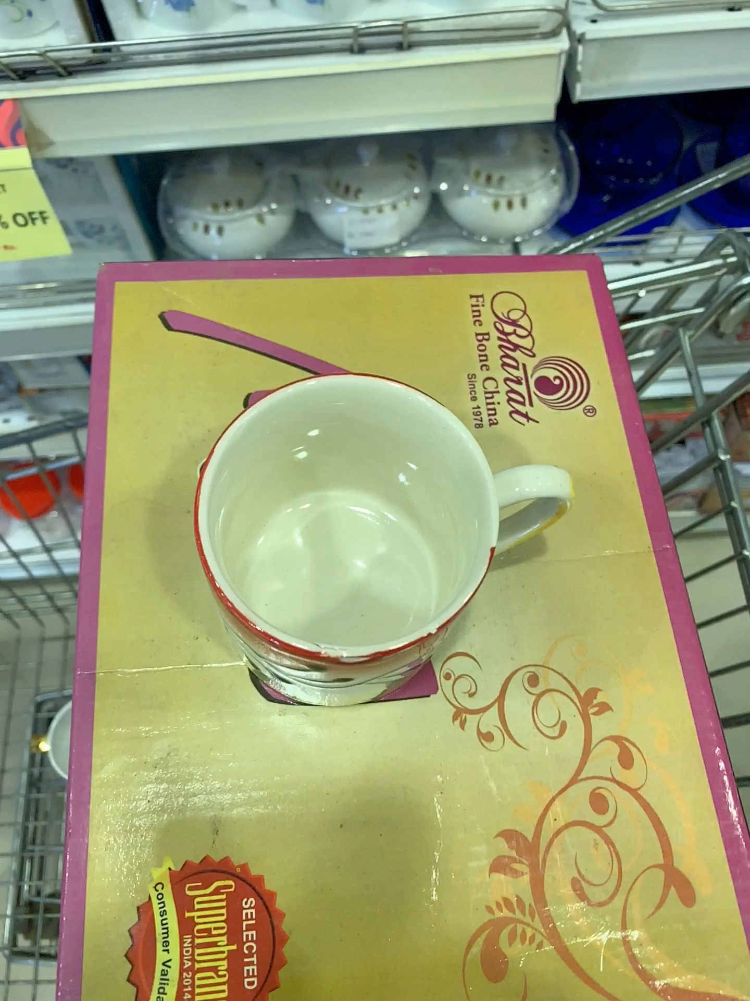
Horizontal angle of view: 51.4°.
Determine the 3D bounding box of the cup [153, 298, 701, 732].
[{"bbox_3d":[0.006,0.006,0.208,0.110,0.070,0.080,-8,67,-9],"label":"cup"}]
